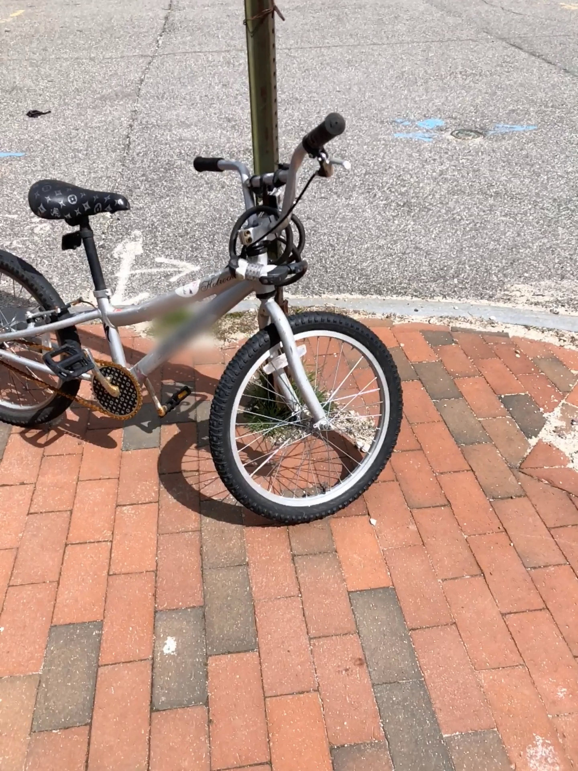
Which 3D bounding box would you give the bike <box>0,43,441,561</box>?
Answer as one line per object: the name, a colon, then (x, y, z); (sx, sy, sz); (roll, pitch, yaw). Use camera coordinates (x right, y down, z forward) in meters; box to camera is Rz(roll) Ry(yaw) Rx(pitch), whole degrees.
bike: (-0.353, -0.256, 1.451); (1.208, 0.831, 0.720); (8, 36, 10)
